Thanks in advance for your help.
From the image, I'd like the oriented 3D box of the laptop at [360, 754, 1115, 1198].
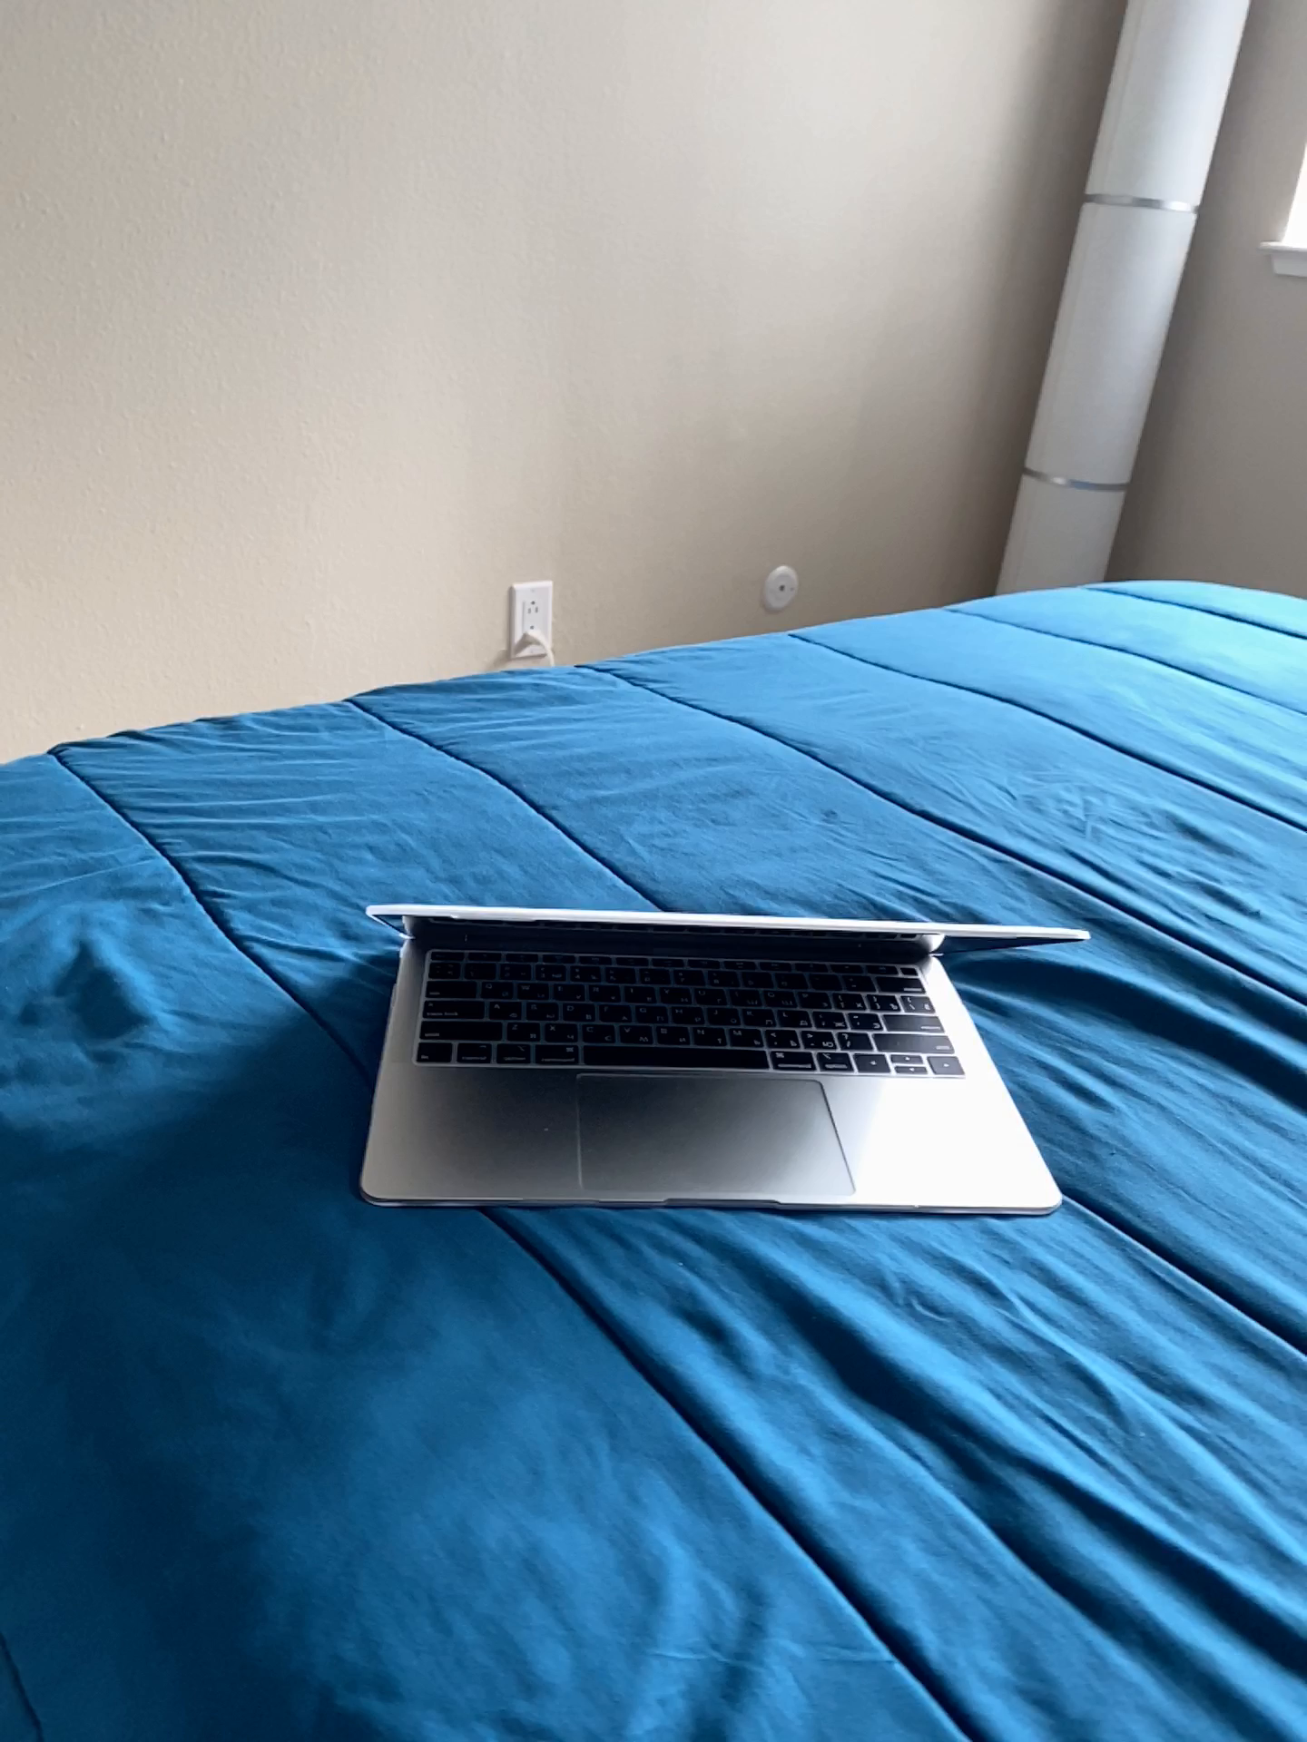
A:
[{"bbox_3d":[0.024,0.042,0.660,0.310,0.106,0.220,1,28,-5],"label":"laptop"}]
